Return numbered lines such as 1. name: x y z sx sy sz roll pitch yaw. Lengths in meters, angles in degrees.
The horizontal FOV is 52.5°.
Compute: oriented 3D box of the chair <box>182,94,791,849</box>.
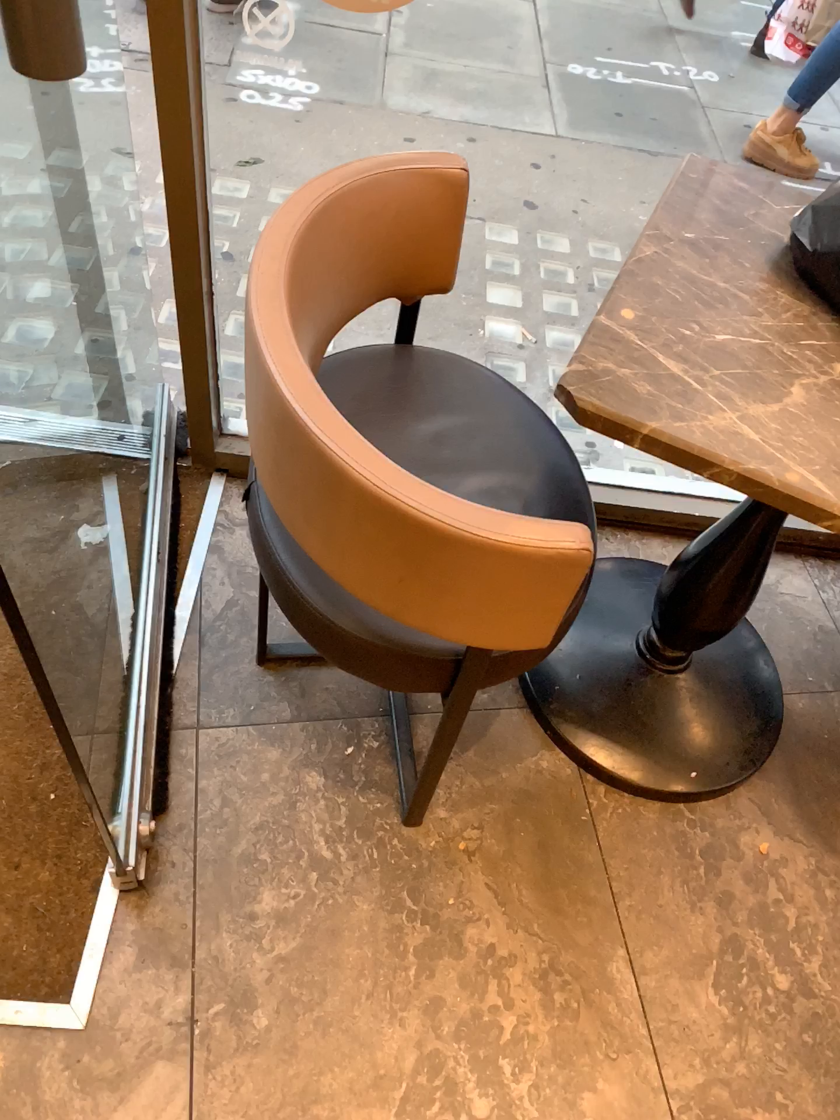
1. chair: 0.019 -0.103 1.192 0.510 0.655 0.766 5 52 -6
